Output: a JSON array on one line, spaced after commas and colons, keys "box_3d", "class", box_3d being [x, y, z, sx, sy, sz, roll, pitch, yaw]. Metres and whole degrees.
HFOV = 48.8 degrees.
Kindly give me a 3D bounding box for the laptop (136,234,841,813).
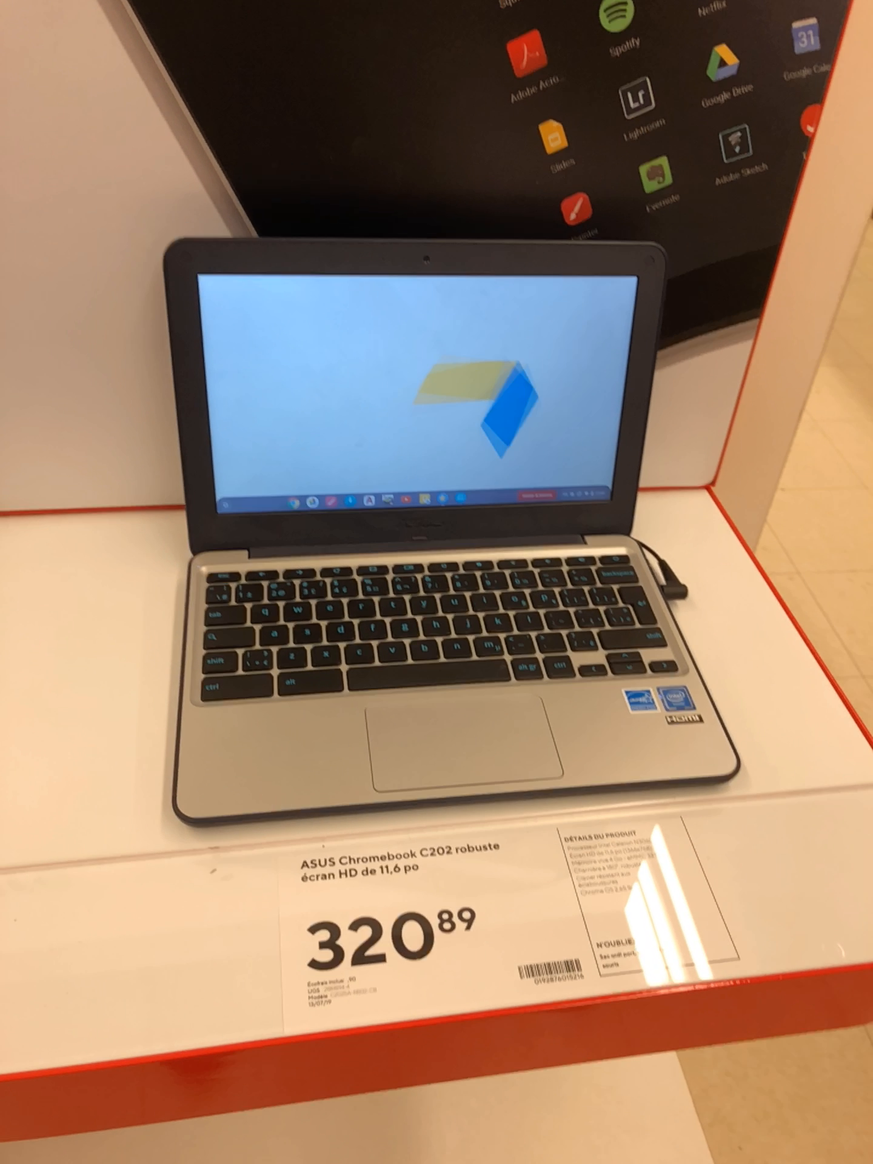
[{"box_3d": [0.006, -0.044, 0.503, 0.274, 0.174, 0.231, -3, 43, -10], "class": "laptop"}]
